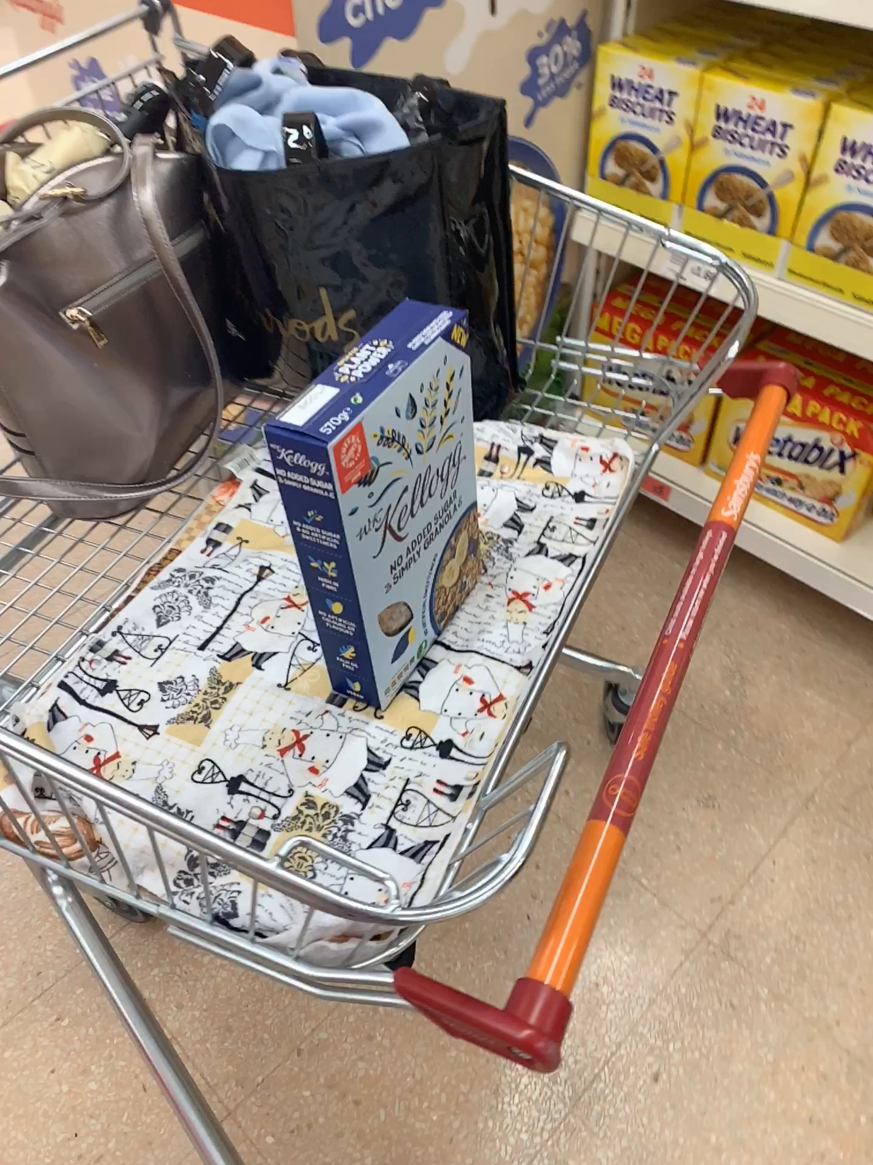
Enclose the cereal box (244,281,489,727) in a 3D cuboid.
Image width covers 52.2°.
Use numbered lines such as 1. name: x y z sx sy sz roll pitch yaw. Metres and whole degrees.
1. cereal box: -0.031 -0.048 0.611 0.050 0.248 0.171 18 48 24
